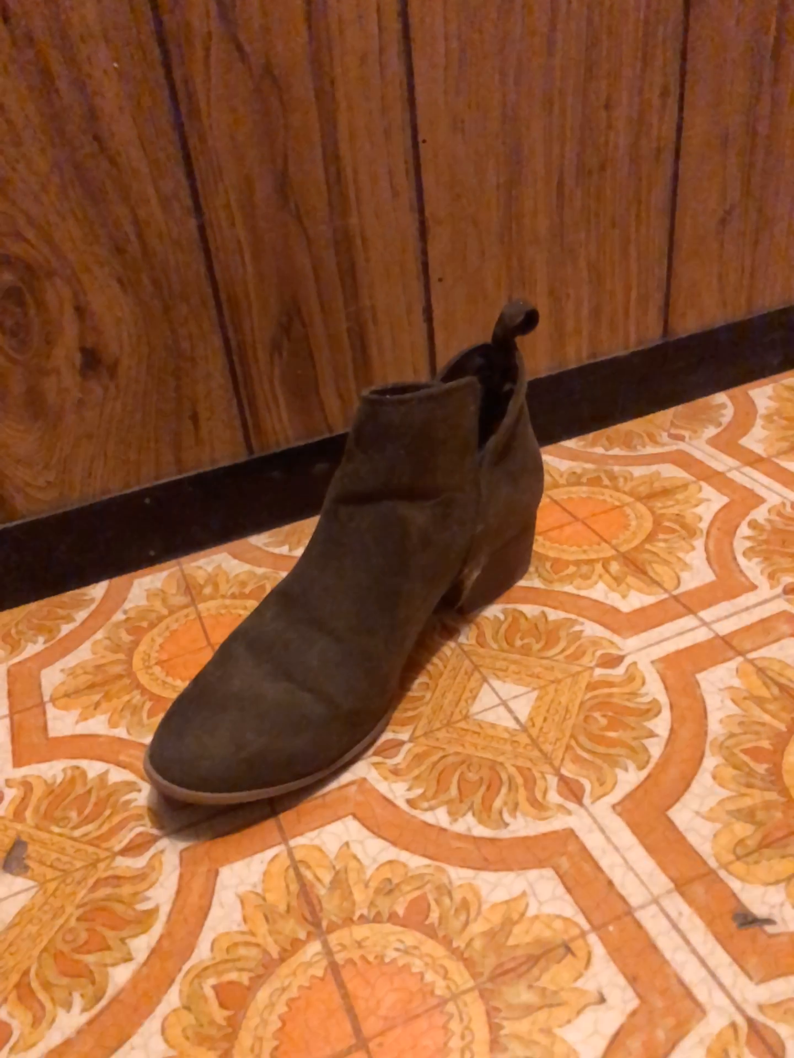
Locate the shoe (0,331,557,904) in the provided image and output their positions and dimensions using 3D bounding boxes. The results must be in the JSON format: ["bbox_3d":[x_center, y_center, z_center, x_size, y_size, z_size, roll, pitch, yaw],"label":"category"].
[{"bbox_3d":[-0.025,0.018,0.410,0.080,0.129,0.260,17,39,34],"label":"shoe"}]
